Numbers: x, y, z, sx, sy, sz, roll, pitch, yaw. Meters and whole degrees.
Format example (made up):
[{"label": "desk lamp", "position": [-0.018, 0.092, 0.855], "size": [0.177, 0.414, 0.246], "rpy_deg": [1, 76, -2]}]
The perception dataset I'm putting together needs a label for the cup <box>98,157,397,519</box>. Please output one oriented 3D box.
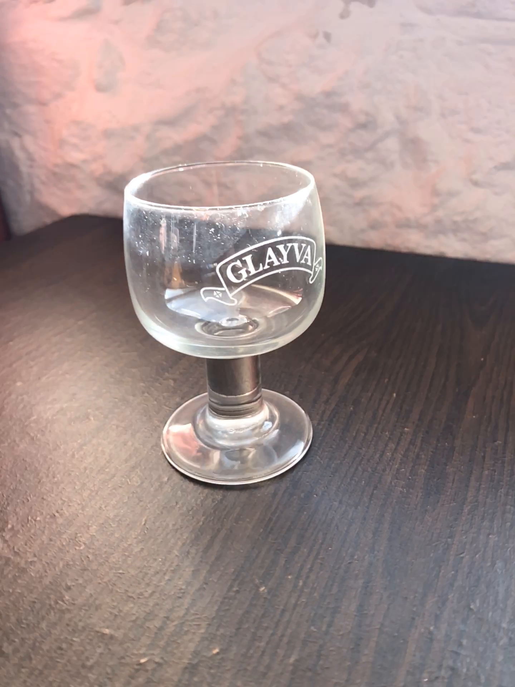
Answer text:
[{"label": "cup", "position": [-0.006, -0.011, 0.234], "size": [0.077, 0.107, 0.085], "rpy_deg": [-16, 30, -27]}]
